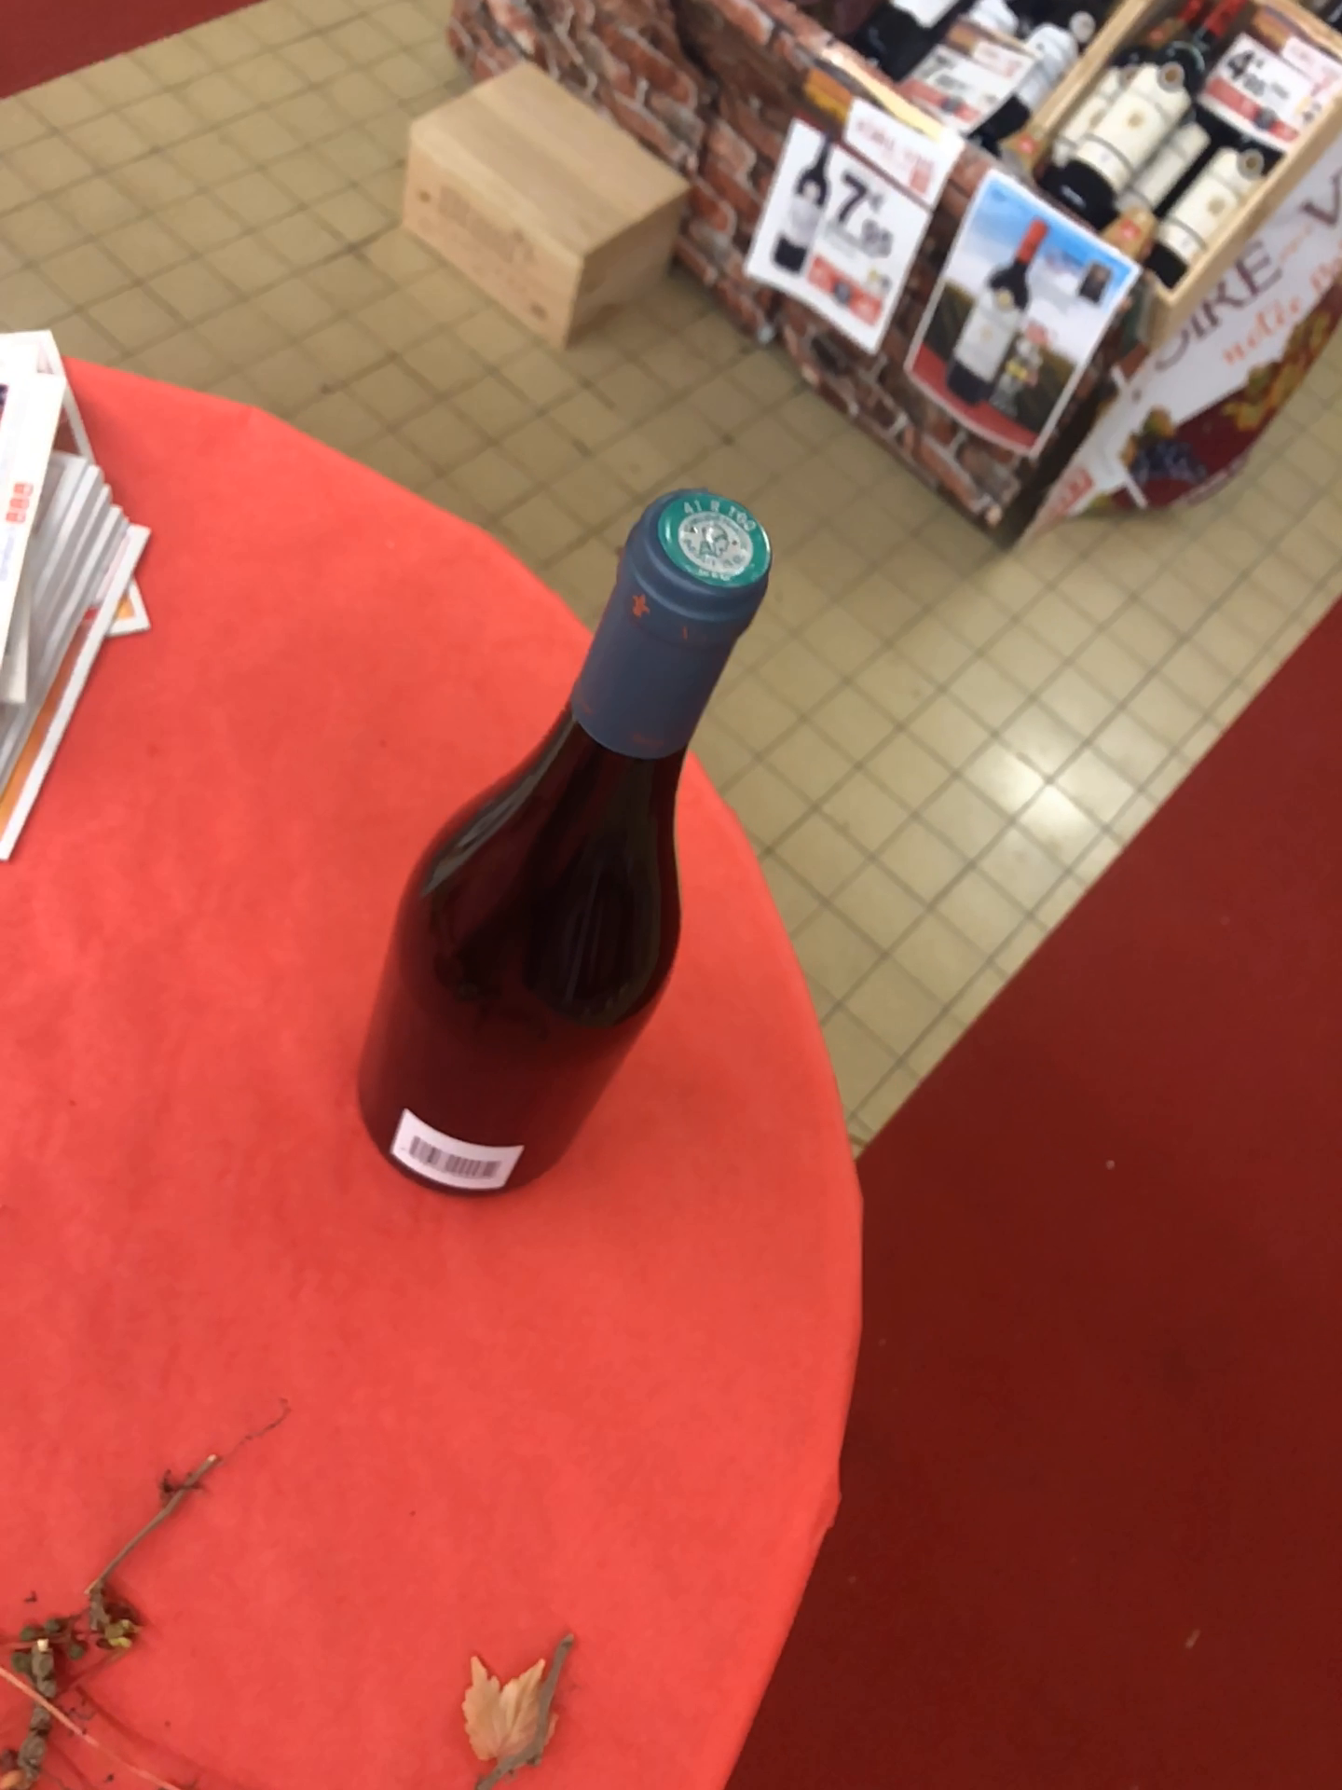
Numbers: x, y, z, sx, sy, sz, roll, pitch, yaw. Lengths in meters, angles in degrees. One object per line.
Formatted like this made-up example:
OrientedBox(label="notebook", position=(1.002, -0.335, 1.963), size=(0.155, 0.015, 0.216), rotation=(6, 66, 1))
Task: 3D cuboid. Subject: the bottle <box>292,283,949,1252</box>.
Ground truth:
OrientedBox(label="bottle", position=(-0.035, -0.001, 0.397), size=(0.090, 0.288, 0.090), rotation=(7, 61, -12))
